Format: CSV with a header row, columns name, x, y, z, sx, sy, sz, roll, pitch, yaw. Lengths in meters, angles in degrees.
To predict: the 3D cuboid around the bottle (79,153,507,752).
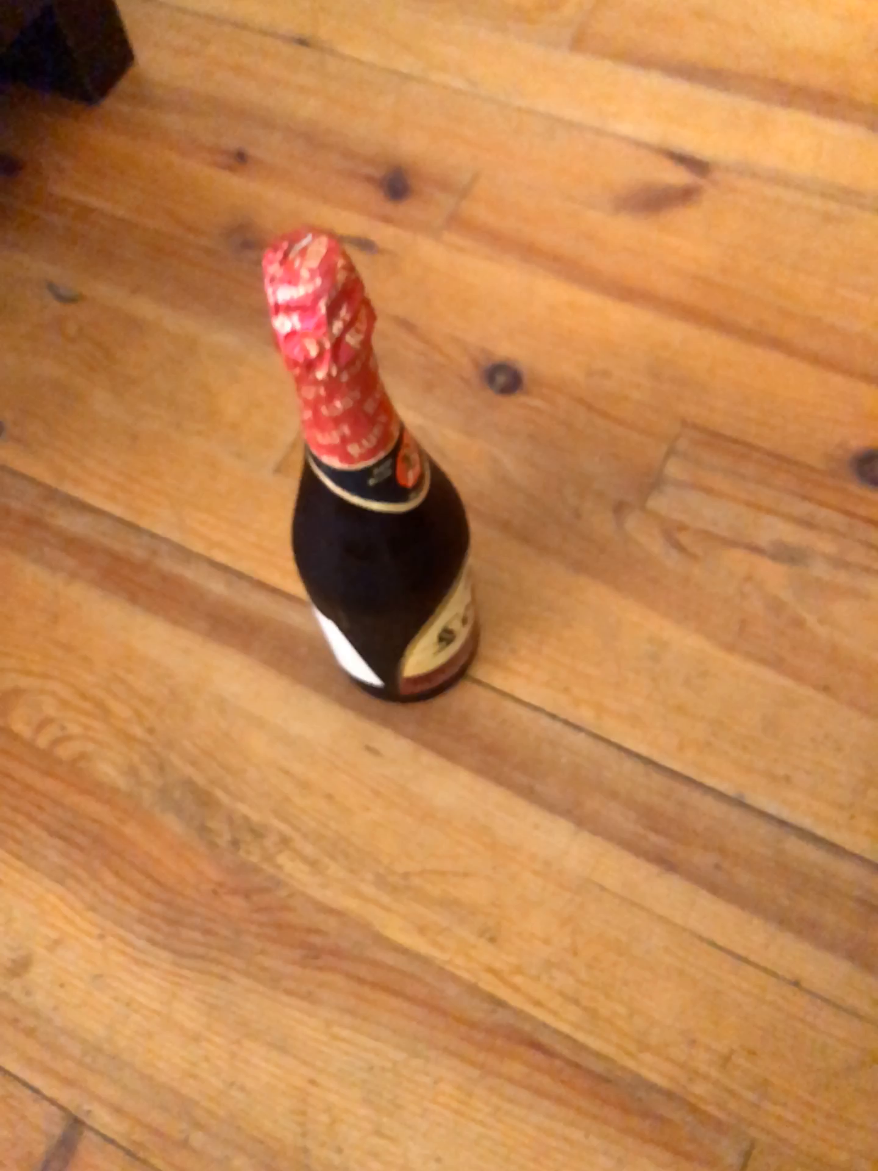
name,x,y,z,sx,sy,sz,roll,pitch,yaw
bottle,-0.032,-0.024,0.414,0.090,0.289,0.090,-2,65,4
